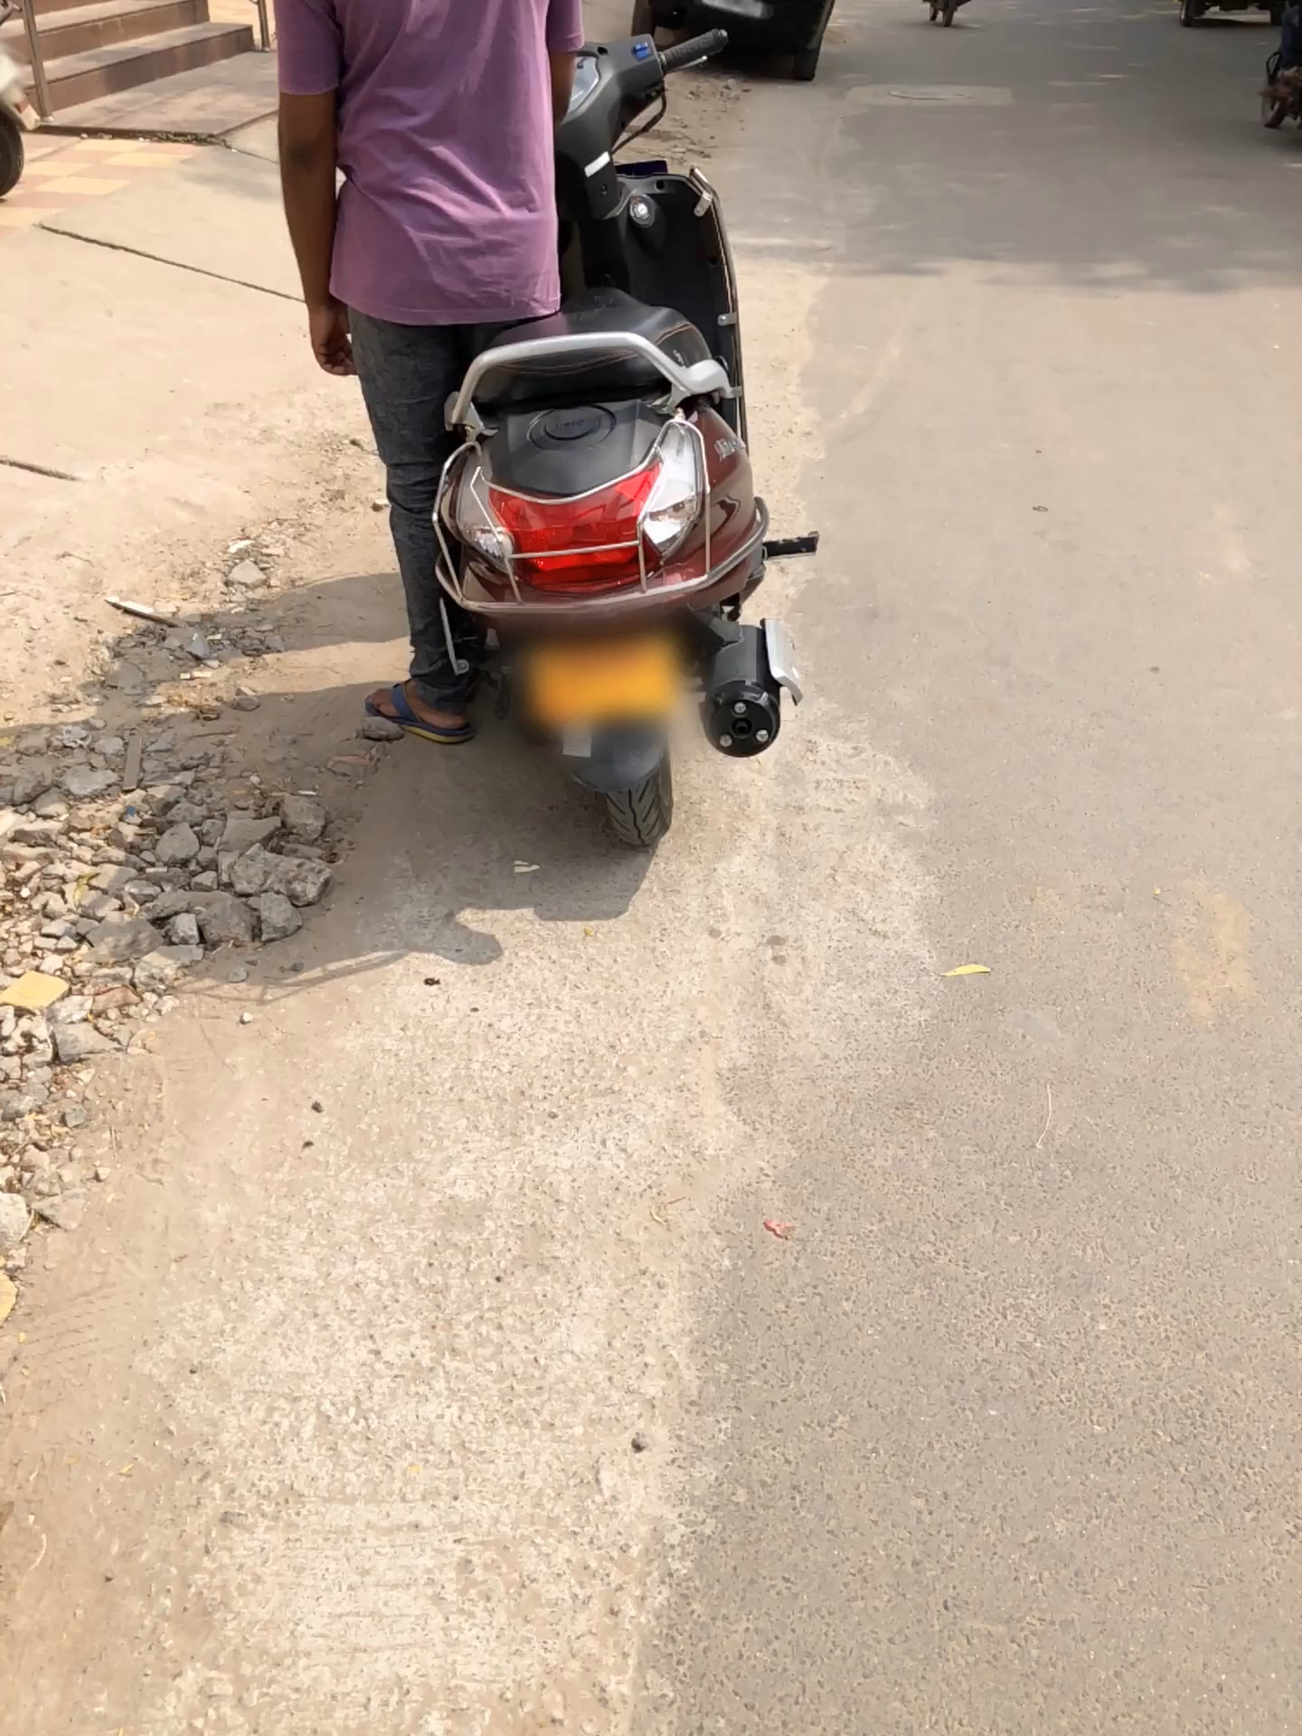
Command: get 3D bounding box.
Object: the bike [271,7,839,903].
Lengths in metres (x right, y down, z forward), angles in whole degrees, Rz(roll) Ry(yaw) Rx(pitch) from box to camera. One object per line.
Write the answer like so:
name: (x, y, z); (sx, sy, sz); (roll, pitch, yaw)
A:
bike: (-0.176, -0.877, 2.680); (0.674, 1.125, 1.625); (-1, 35, -4)
